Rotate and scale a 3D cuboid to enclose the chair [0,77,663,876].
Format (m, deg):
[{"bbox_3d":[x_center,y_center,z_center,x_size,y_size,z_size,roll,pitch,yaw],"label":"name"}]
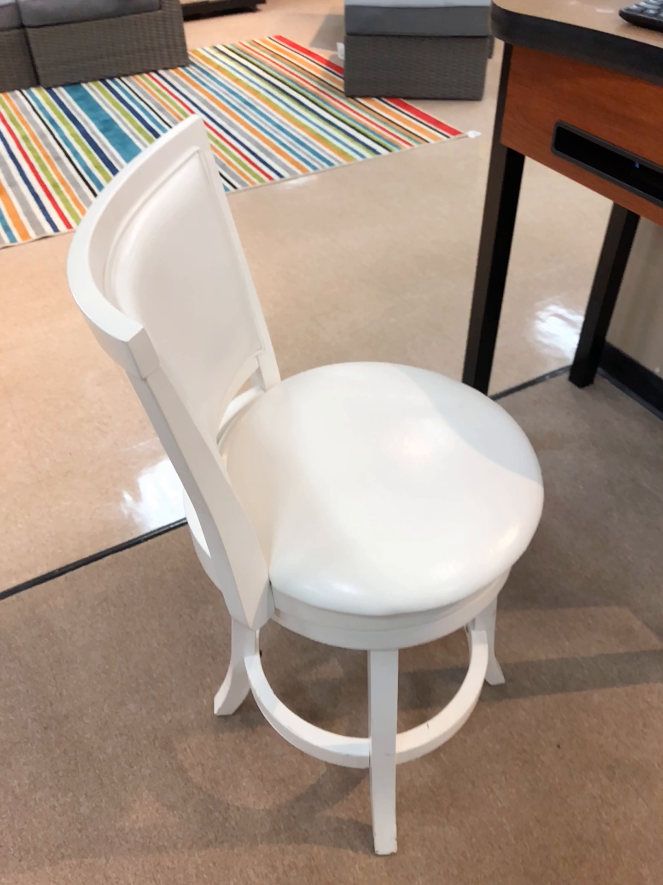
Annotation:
[{"bbox_3d":[0.047,0.089,1.026,0.570,0.944,0.624,1,42,3],"label":"chair"}]
